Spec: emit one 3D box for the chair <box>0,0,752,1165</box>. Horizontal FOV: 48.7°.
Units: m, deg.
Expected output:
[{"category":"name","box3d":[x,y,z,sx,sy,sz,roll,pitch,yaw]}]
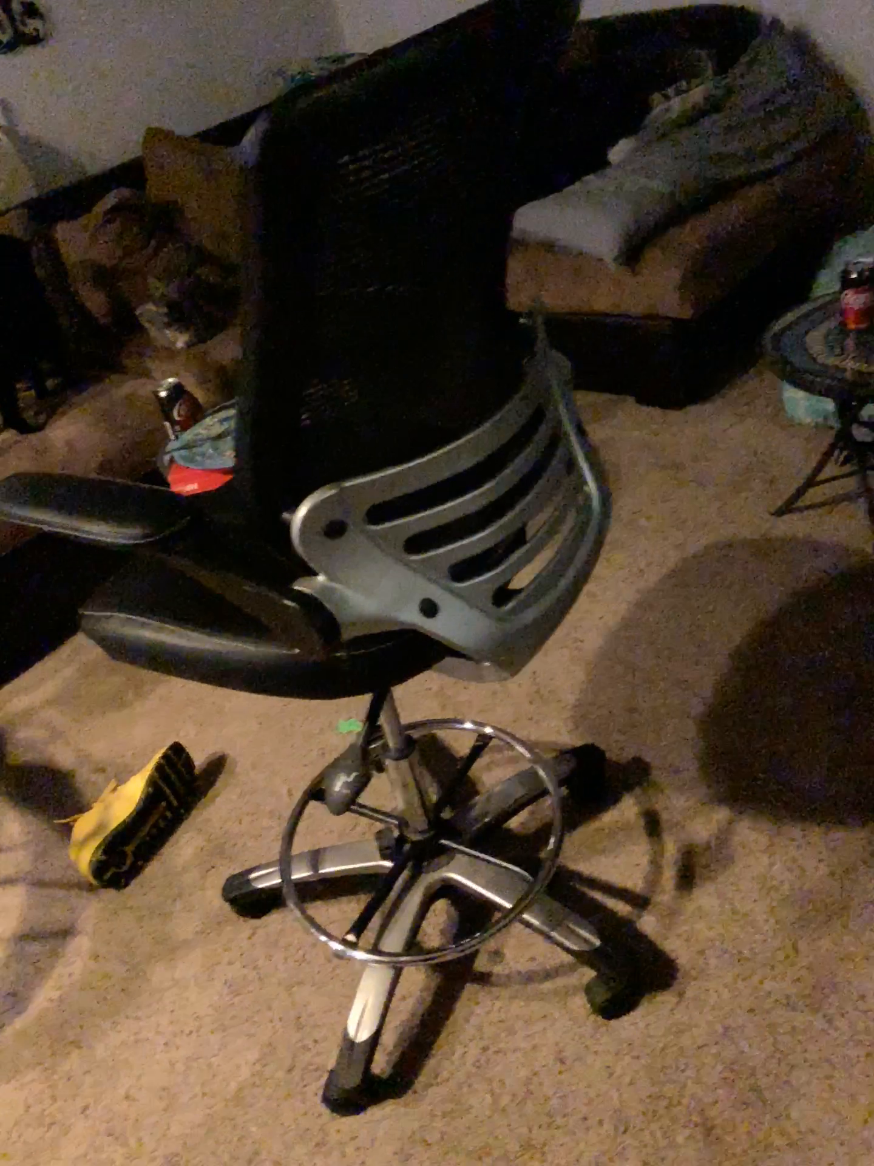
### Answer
[{"category":"chair","box3d":[-0.107,-0.001,1.135,0.700,1.120,0.780,11,42,31]}]
